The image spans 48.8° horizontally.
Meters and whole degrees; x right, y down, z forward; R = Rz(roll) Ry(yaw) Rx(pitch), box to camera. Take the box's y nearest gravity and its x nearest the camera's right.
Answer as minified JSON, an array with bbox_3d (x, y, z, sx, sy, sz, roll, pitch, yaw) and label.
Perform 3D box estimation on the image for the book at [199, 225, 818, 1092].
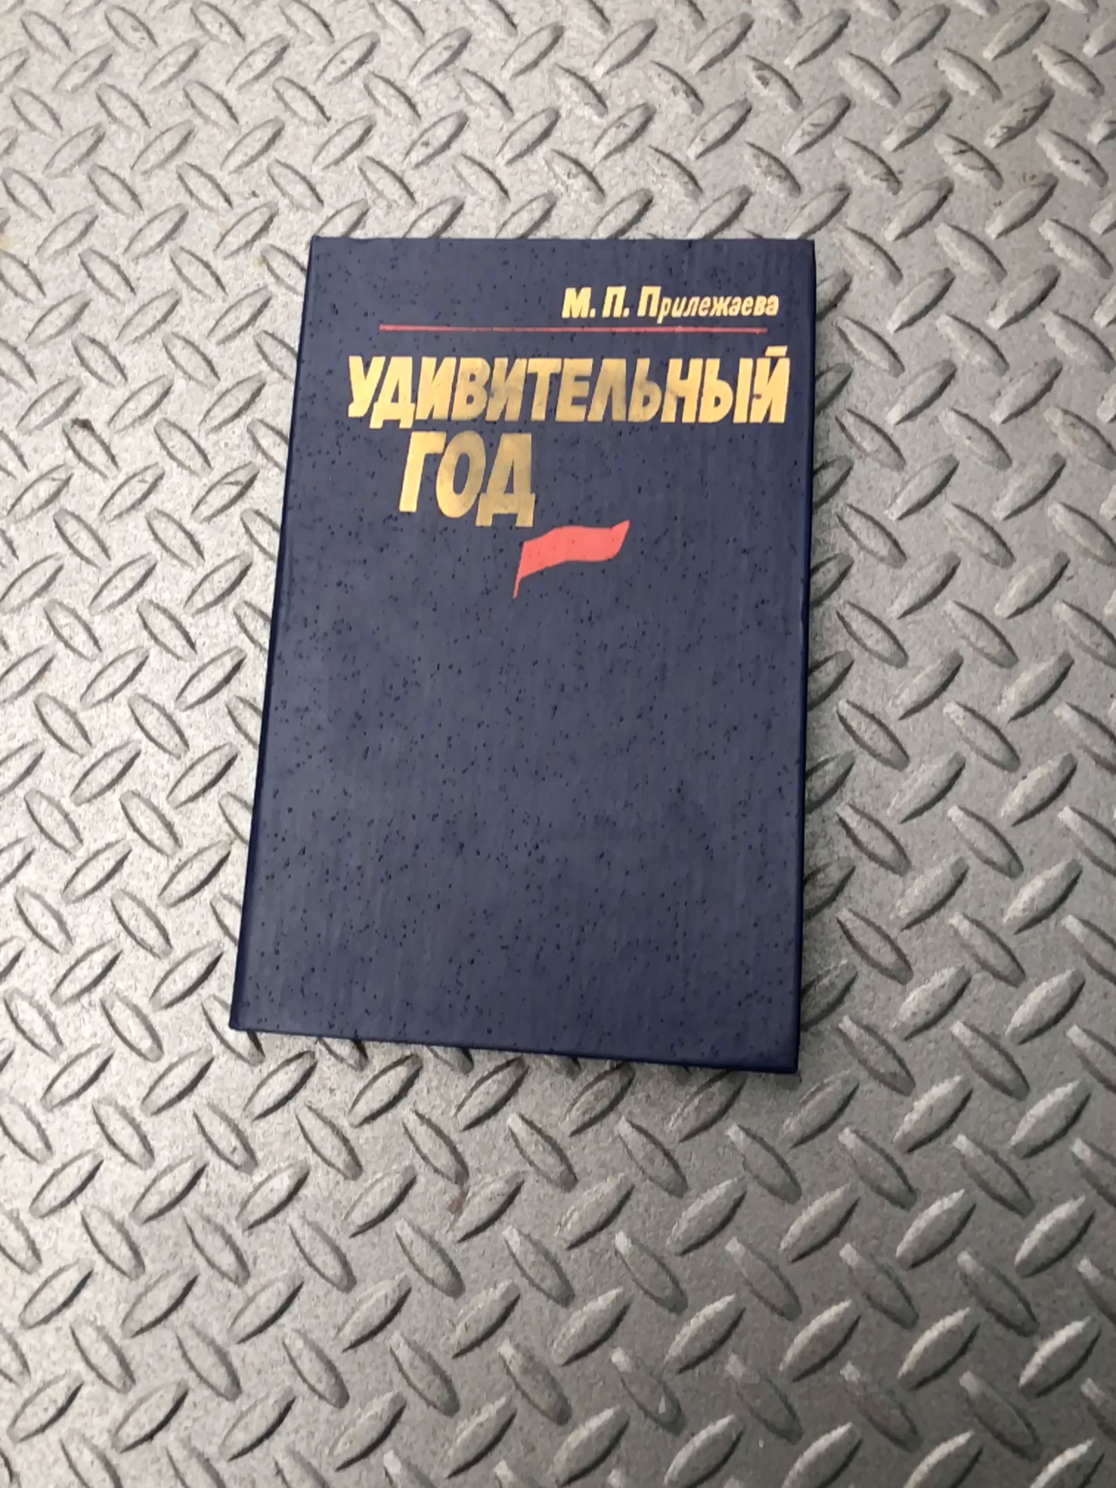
[{"bbox_3d":[-0.007,-0.025,0.304,0.130,0.040,0.200,3,81,6],"label":"book"}]
